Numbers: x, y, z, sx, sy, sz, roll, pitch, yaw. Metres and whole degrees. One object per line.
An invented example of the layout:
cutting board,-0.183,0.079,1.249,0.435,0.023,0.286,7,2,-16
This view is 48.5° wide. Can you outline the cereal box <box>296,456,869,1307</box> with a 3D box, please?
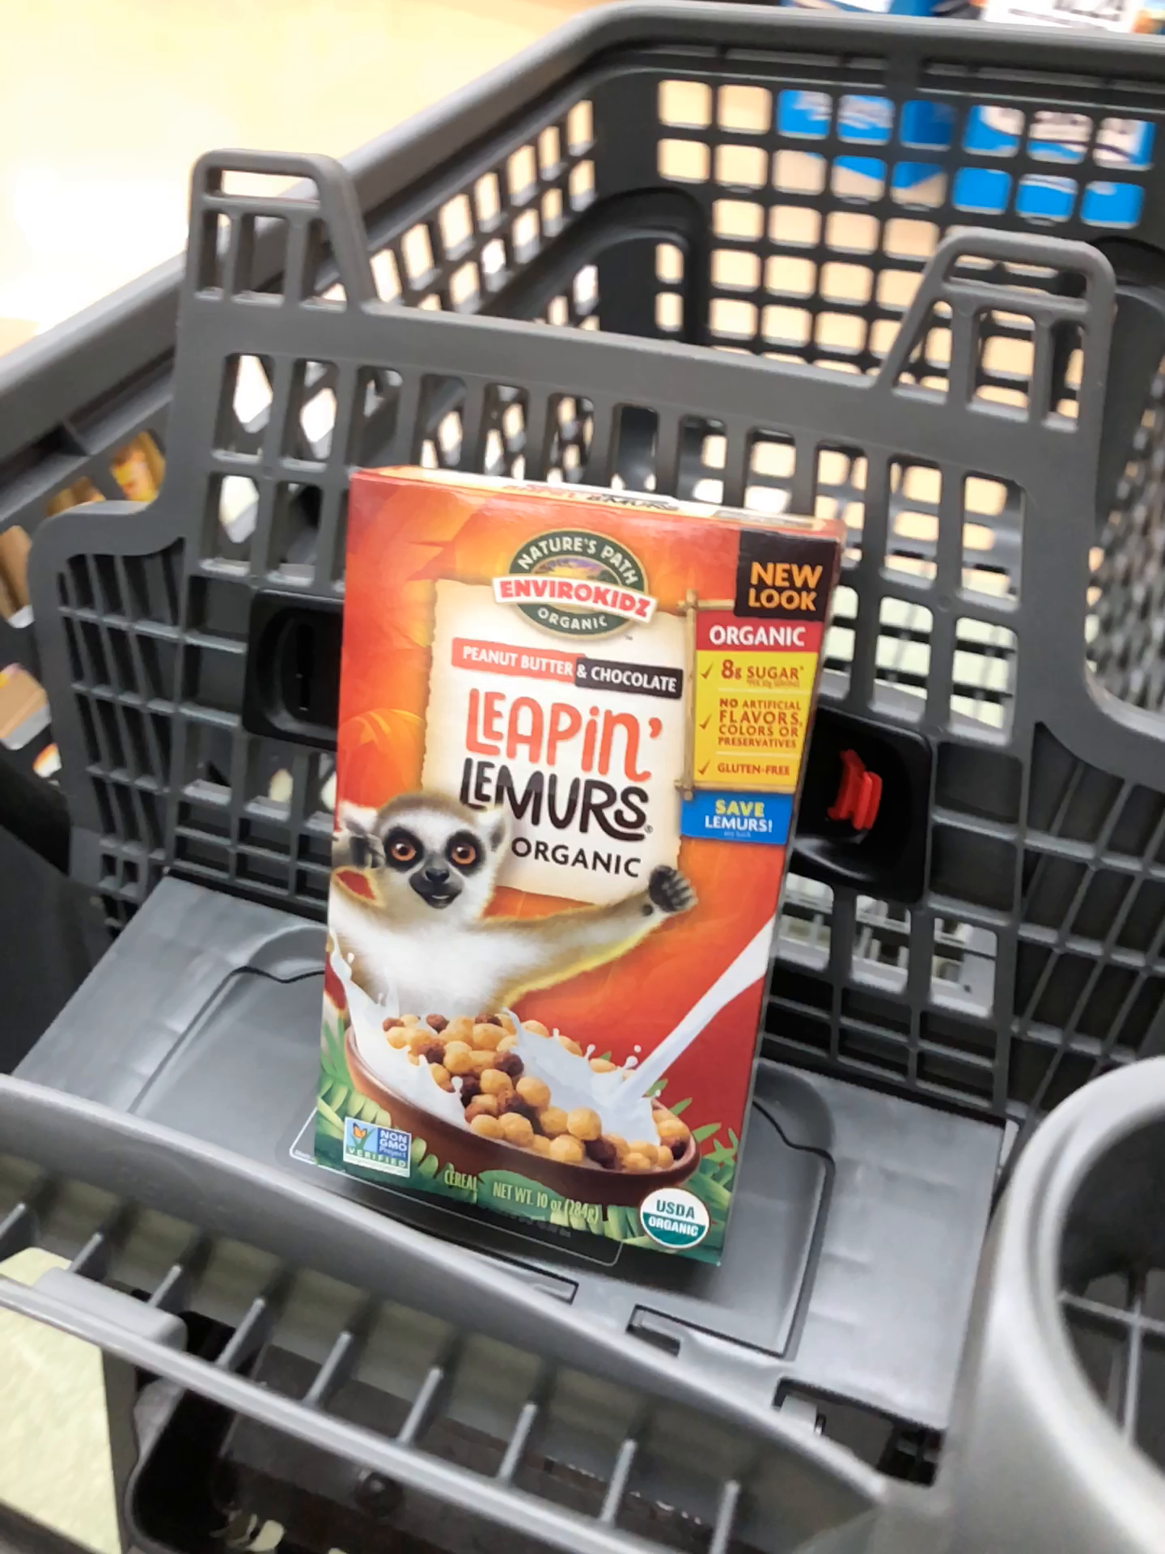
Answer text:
cereal box,-0.004,0.031,0.447,0.160,0.260,0.070,10,16,12
